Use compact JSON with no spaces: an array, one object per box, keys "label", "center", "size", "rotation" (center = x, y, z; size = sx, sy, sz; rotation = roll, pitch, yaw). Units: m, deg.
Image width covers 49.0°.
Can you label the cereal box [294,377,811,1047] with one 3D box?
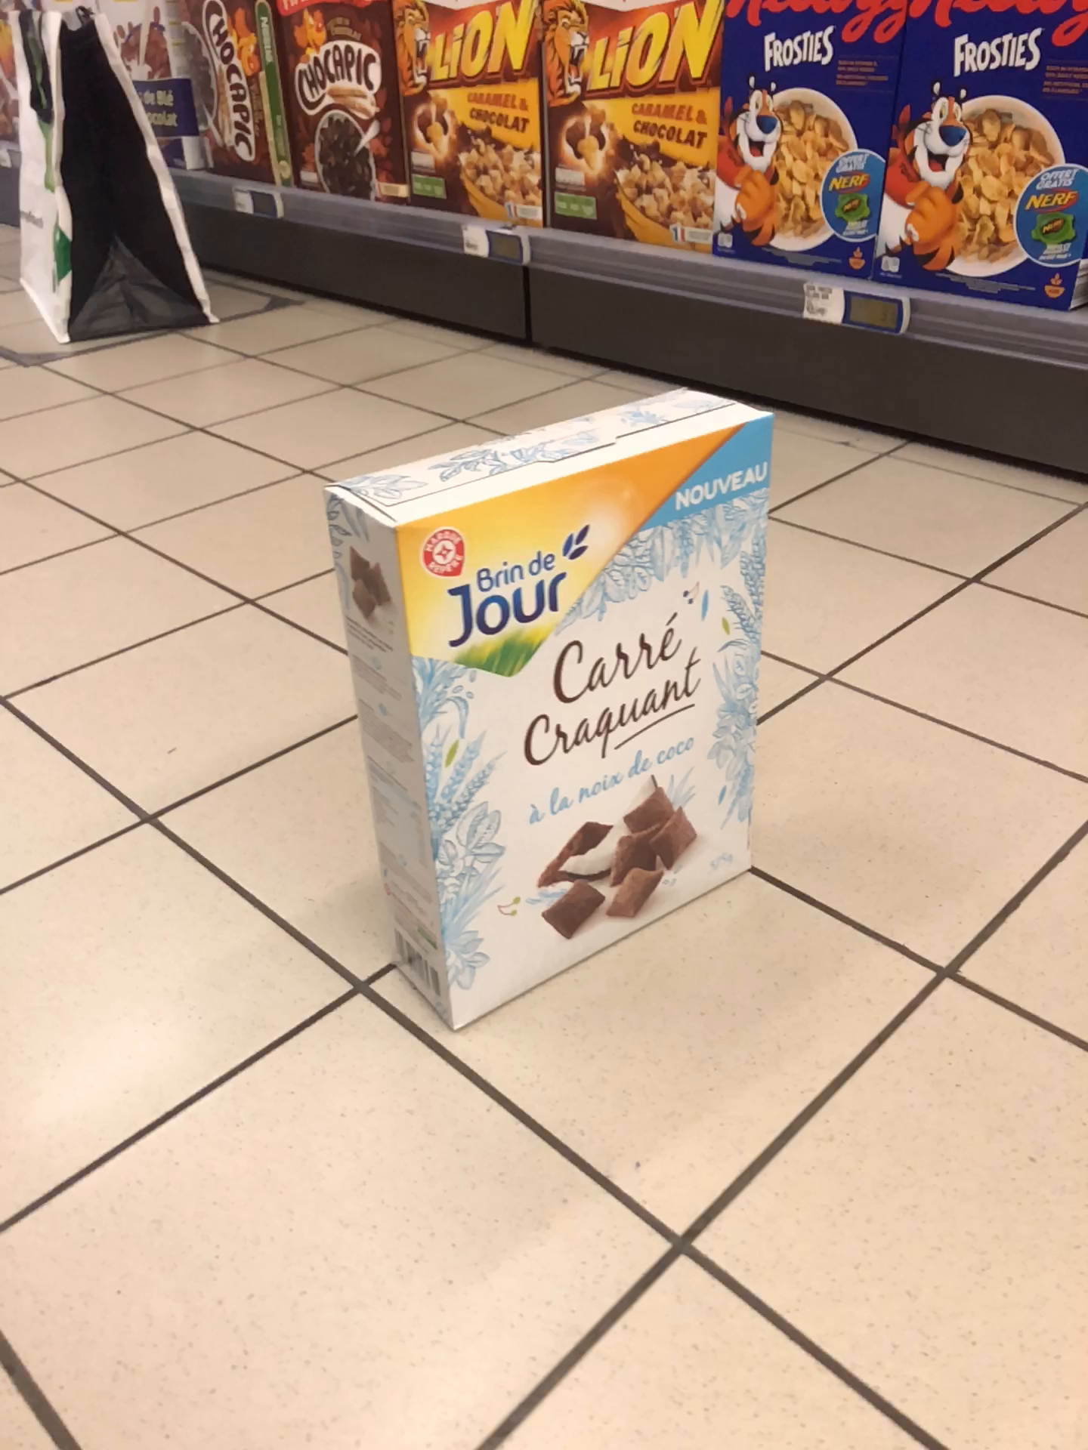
[{"label":"cereal box","center":[0.014,-0.008,0.533],"size":[0.201,0.239,0.070],"rotation":[-22,36,-28]}]
